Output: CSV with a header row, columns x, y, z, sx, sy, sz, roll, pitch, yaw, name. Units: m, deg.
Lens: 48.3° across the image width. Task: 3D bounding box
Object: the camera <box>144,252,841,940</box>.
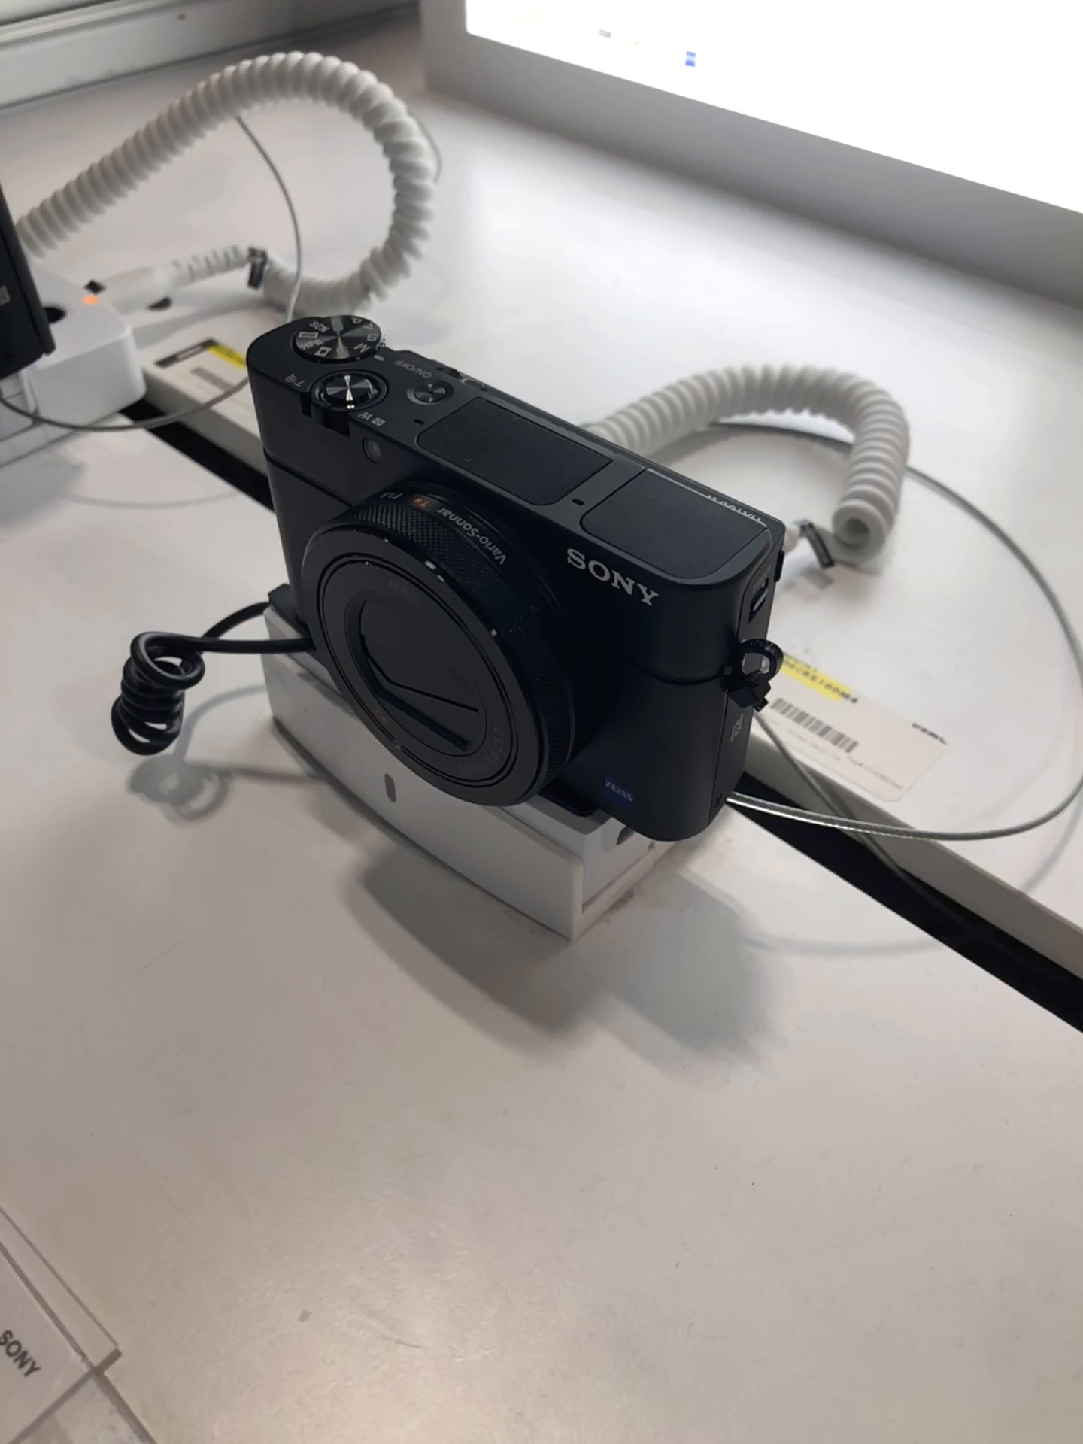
x,y,z,sx,sy,sz,roll,pitch,yaw,name
-0.013,-0.026,0.211,0.110,0.070,0.040,32,52,28,camera
